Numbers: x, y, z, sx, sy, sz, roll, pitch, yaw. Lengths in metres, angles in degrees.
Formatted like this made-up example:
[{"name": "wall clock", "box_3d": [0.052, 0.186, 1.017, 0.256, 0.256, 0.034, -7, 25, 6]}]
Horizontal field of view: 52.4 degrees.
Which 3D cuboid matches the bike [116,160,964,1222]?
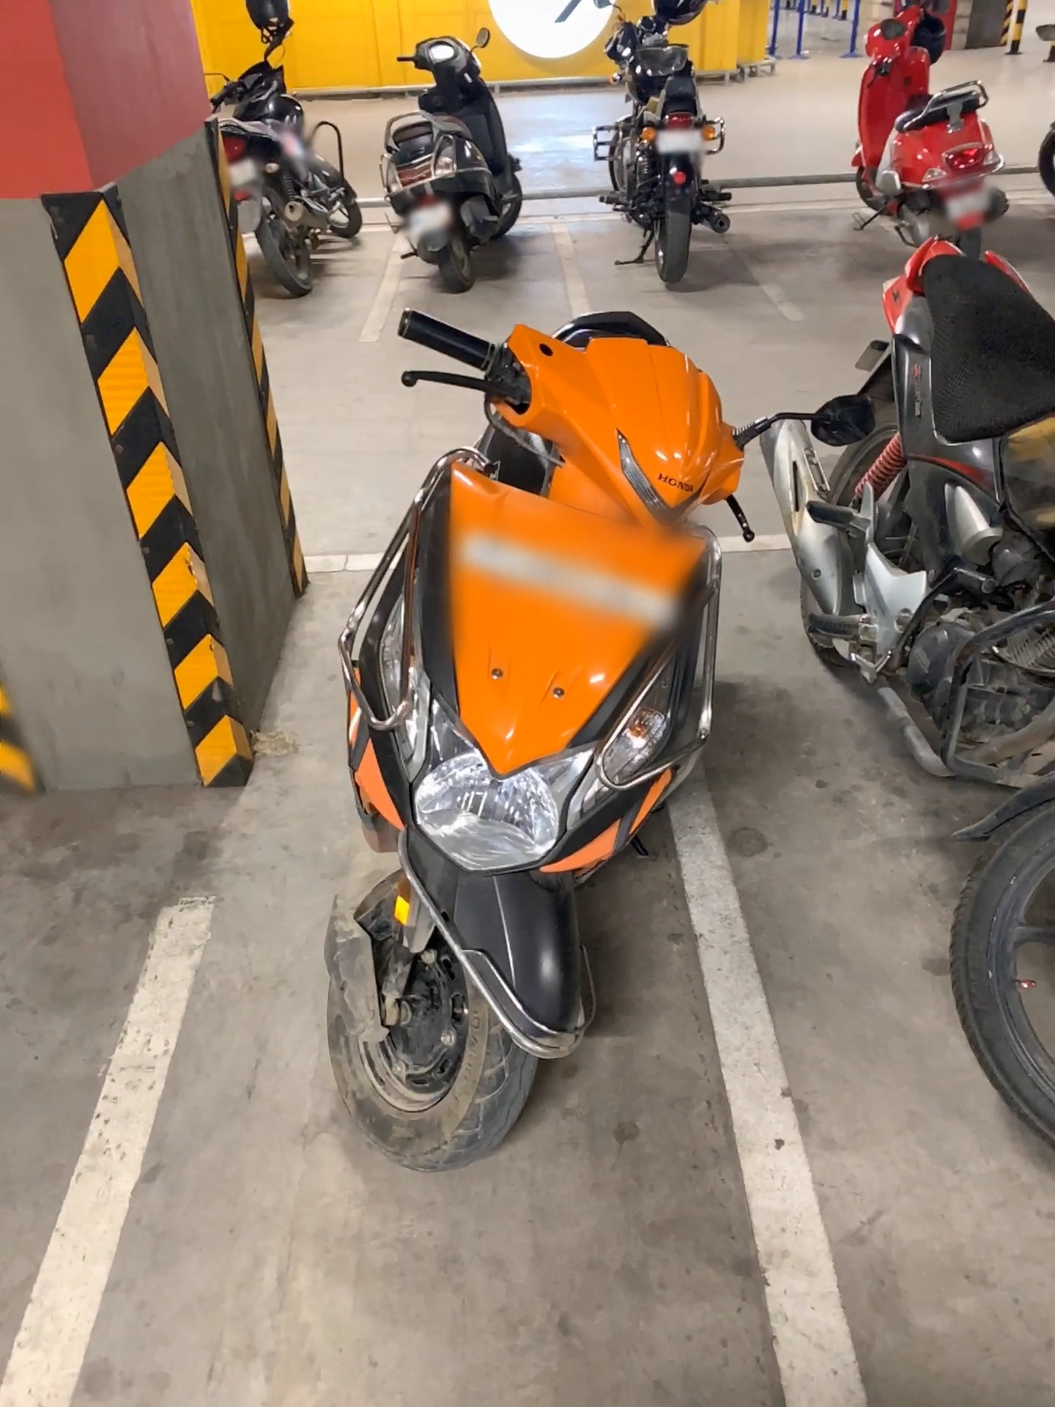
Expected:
[{"name": "bike", "box_3d": [0.147, -0.182, 1.904, 0.724, 1.172, 1.613, 2, 34, 8]}]
